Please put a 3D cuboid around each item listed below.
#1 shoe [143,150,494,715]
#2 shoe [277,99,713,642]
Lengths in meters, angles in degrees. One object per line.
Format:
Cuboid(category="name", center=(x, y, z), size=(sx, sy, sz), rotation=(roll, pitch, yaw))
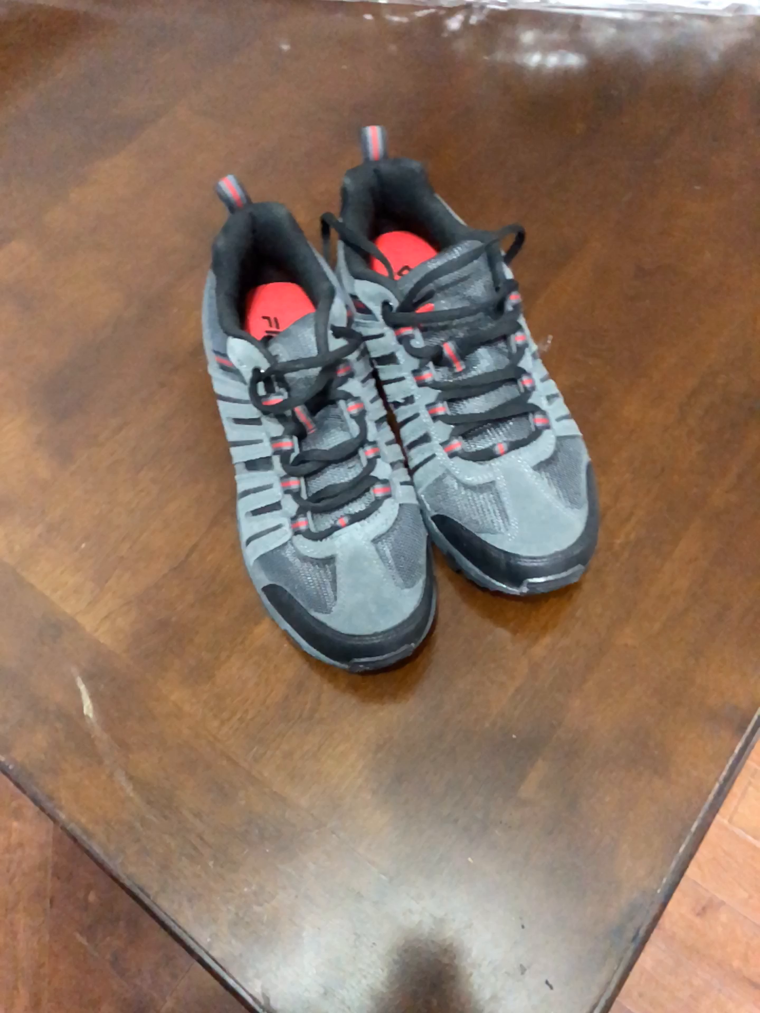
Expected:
Cuboid(category="shoe", center=(-0.043, -0.052, 0.486), size=(0.120, 0.100, 0.300), rotation=(-15, 62, -3))
Cuboid(category="shoe", center=(0.050, -0.091, 0.499), size=(0.120, 0.100, 0.300), rotation=(-20, 63, -6))
